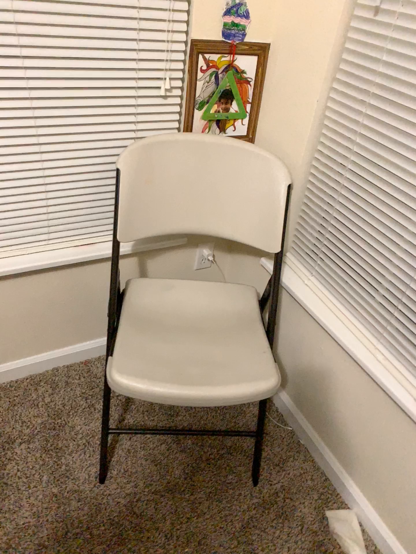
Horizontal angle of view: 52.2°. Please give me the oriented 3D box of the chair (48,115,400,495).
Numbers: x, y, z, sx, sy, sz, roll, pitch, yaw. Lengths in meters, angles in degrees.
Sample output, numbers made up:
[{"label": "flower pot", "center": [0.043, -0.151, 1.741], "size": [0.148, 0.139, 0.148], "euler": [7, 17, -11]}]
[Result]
[{"label": "chair", "center": [-0.019, 0.078, 1.241], "size": [0.610, 0.816, 0.683], "euler": [5, 36, -5]}]
